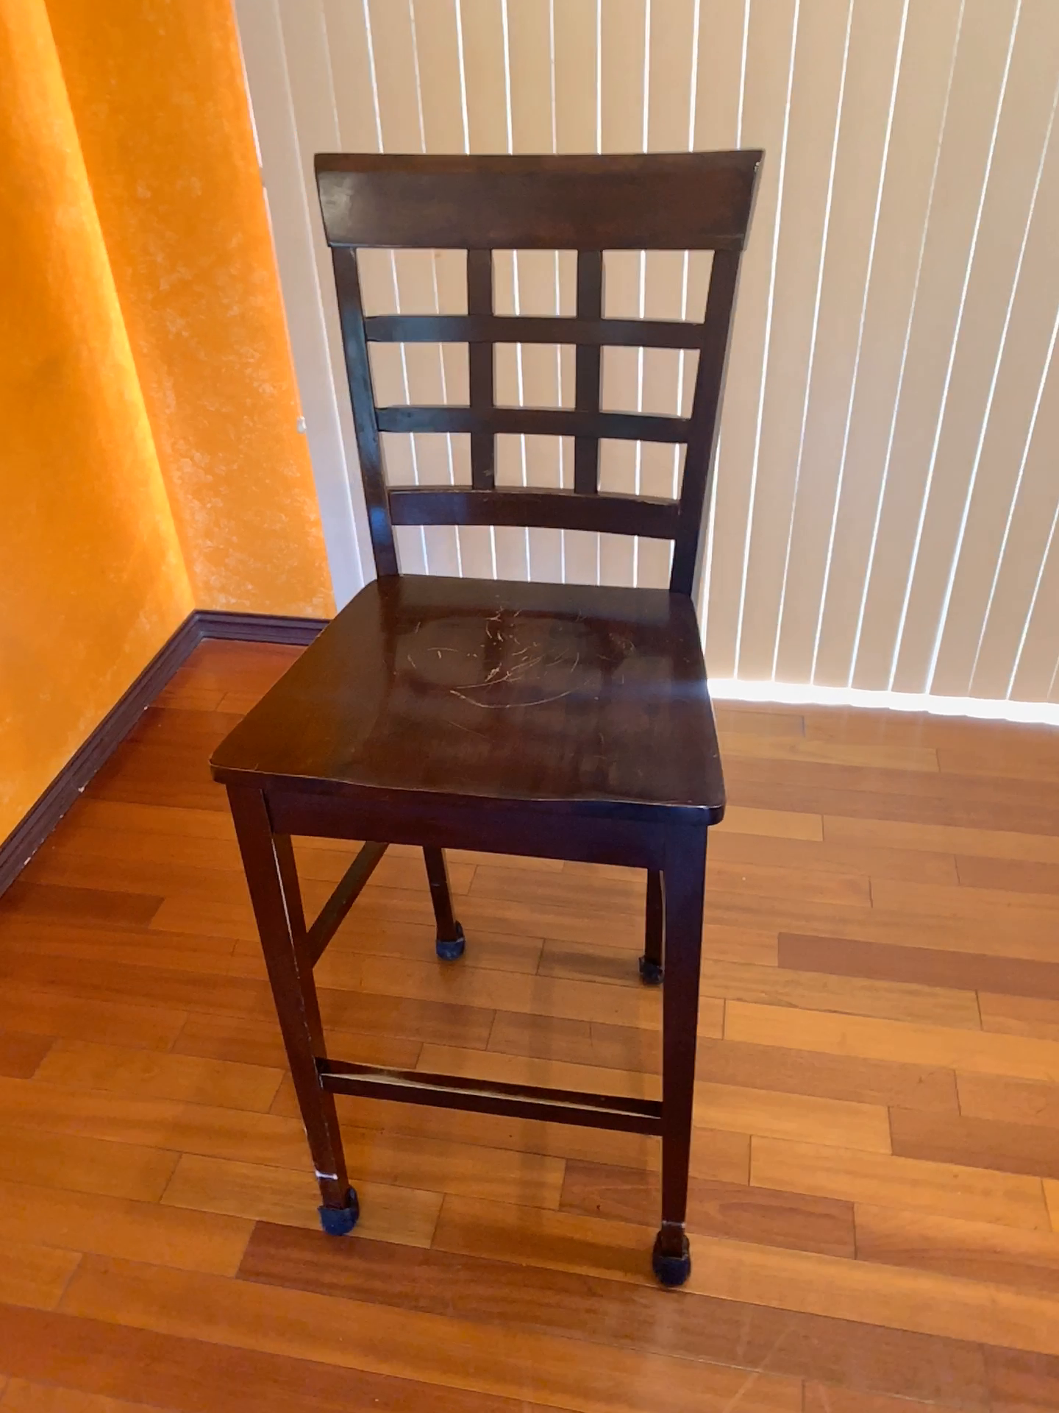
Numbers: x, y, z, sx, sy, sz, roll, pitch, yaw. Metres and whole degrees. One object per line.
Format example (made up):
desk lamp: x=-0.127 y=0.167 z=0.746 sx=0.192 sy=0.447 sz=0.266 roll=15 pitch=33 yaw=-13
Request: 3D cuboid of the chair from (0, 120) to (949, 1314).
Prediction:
chair: x=-0.005 y=0.019 z=1.089 sx=0.541 sy=0.986 sz=0.585 roll=4 pitch=36 yaw=9
